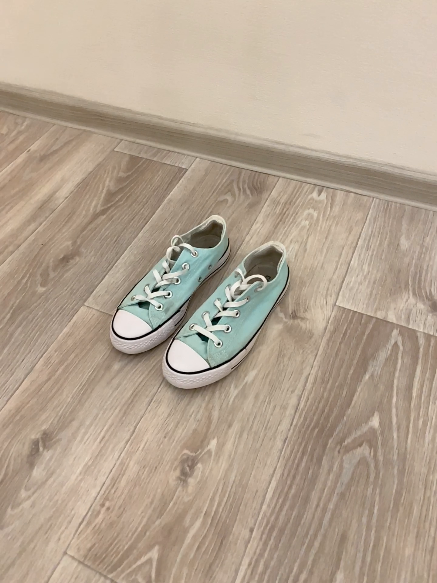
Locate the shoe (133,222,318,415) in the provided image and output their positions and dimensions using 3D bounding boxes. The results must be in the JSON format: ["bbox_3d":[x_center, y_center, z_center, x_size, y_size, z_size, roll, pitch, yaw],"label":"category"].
[{"bbox_3d":[0.018,0.023,0.580,0.100,0.060,0.251,30,59,24],"label":"shoe"}]

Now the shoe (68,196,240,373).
[{"bbox_3d":[-0.075,-0.021,0.612,0.092,0.060,0.251,25,57,22],"label":"shoe"}]
